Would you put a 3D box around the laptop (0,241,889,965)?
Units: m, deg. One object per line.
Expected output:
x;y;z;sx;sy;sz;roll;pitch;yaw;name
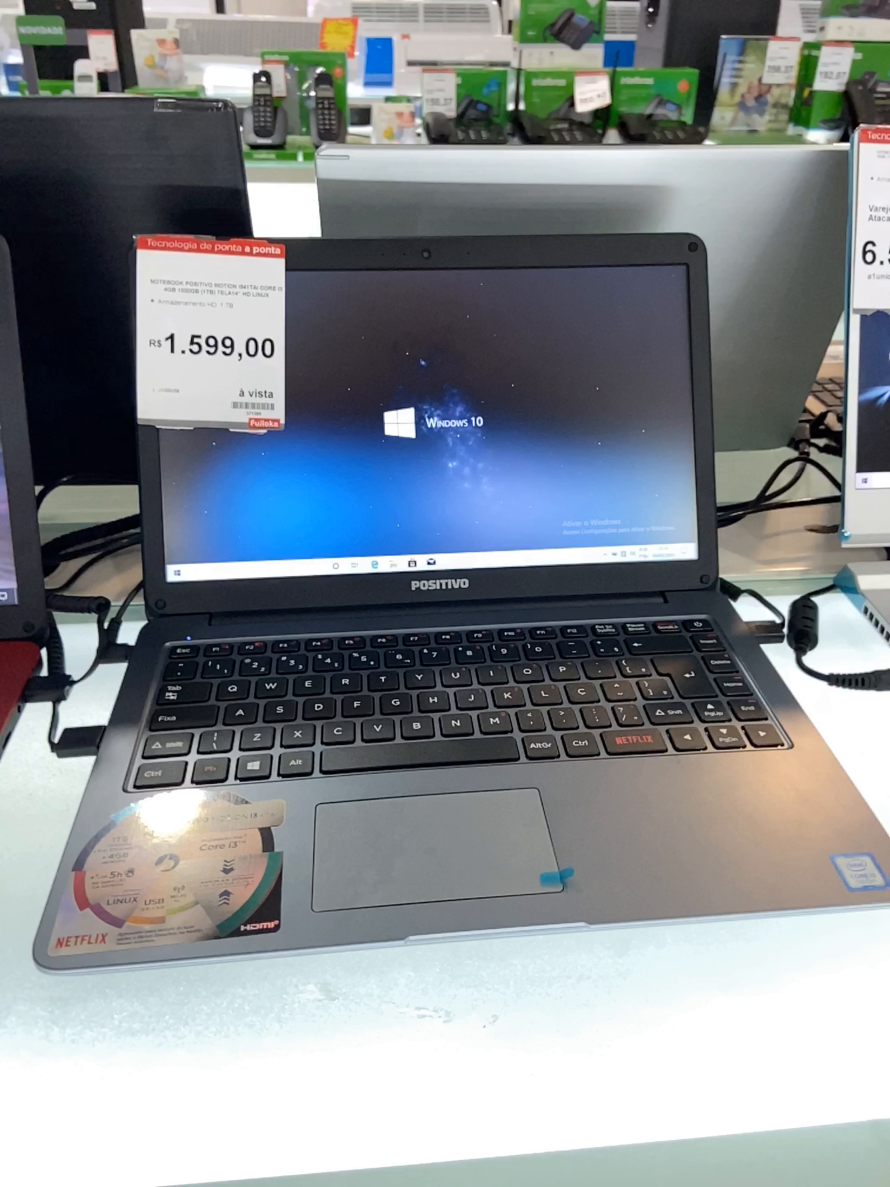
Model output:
0.002;-0.038;0.421;0.319;0.171;0.325;-3;32;-5;laptop
